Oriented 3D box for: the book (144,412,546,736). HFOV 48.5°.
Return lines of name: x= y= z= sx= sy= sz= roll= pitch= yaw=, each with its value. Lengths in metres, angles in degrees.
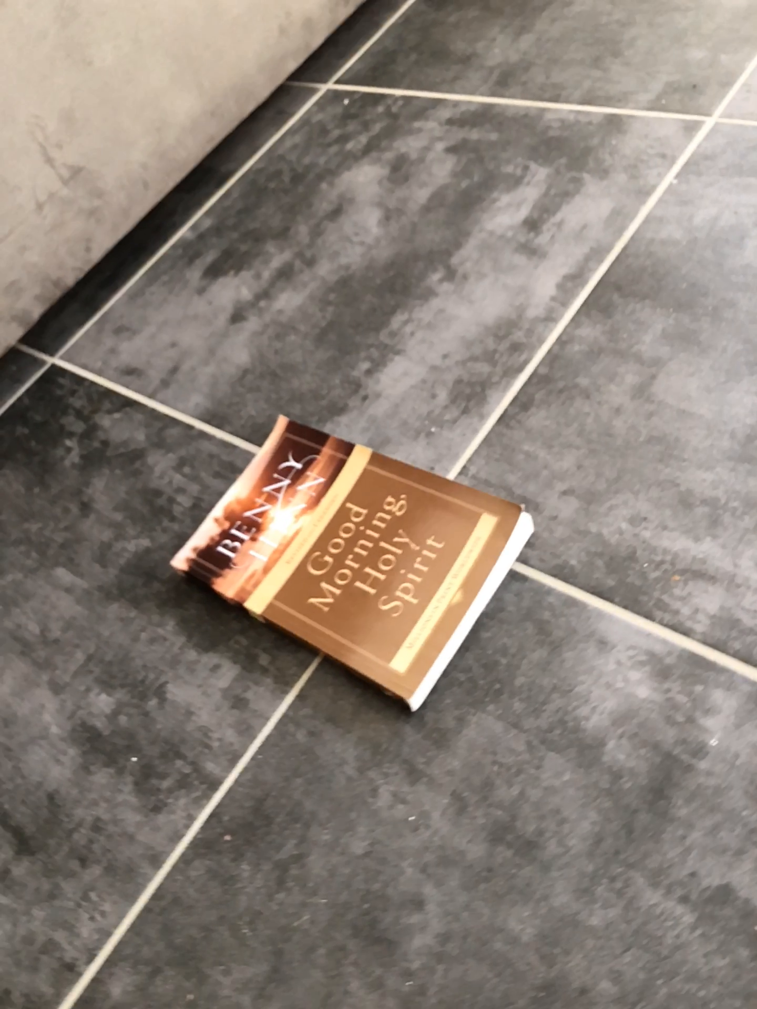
book: x=-0.029 y=0.030 z=0.553 sx=0.230 sy=0.020 sz=0.150 roll=23 pitch=66 yaw=33
